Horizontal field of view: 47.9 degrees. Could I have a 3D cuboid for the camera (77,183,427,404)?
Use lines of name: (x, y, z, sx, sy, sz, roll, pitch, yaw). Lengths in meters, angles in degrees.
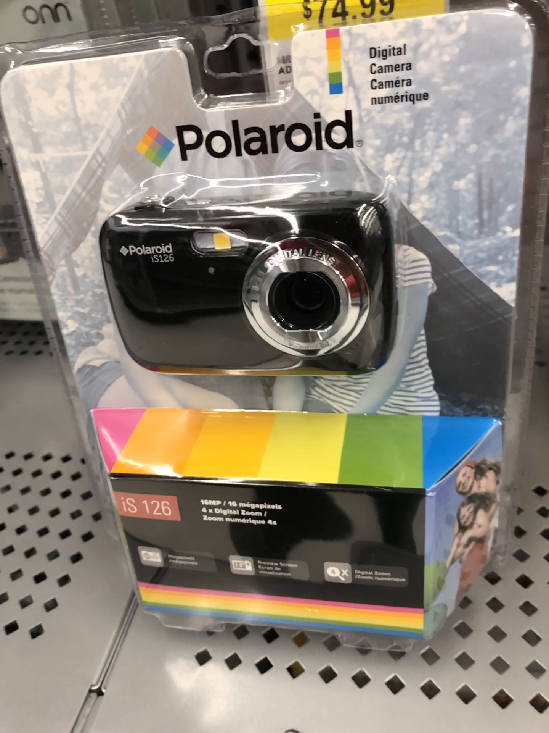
camera: (-0.003, -0.022, 0.200, 0.100, 0.060, 0.030, 1, 38, 13)
